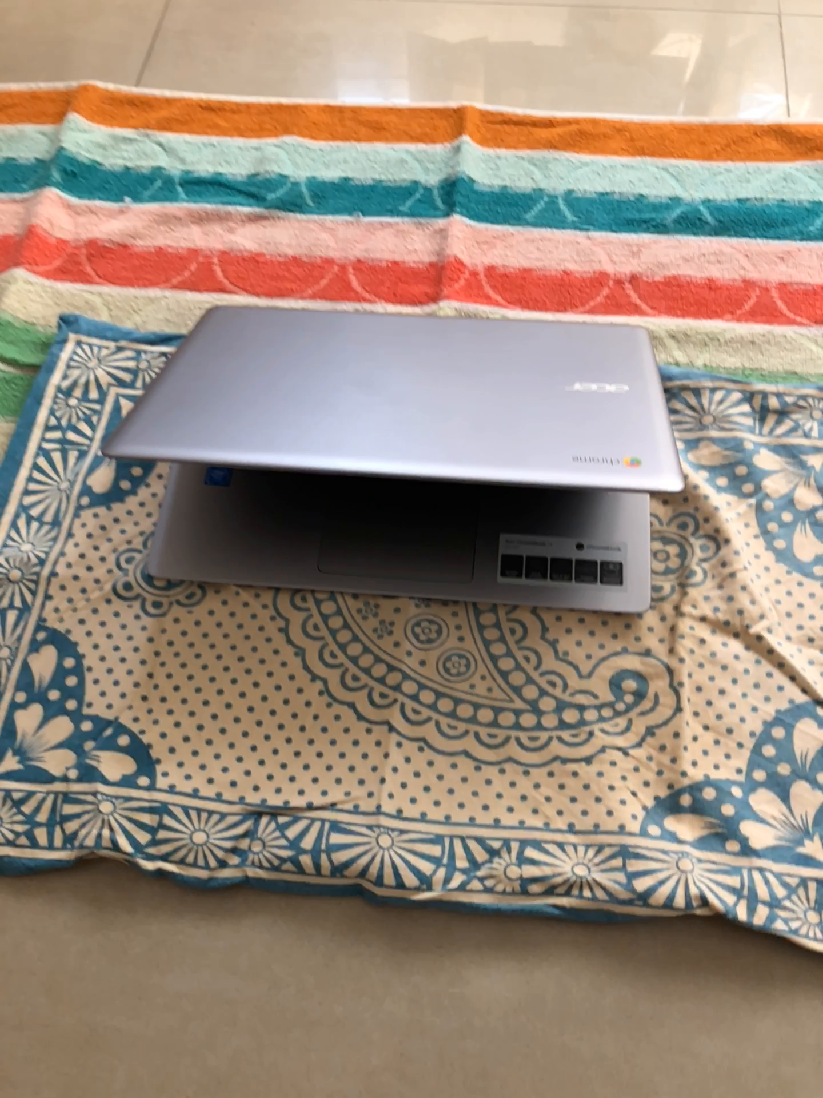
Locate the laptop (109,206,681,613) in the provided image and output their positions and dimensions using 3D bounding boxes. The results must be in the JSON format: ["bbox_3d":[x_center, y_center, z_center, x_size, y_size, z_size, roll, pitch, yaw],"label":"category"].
[{"bbox_3d":[0.001,-0.095,0.597,0.319,0.105,0.222,5,65,5],"label":"laptop"}]
